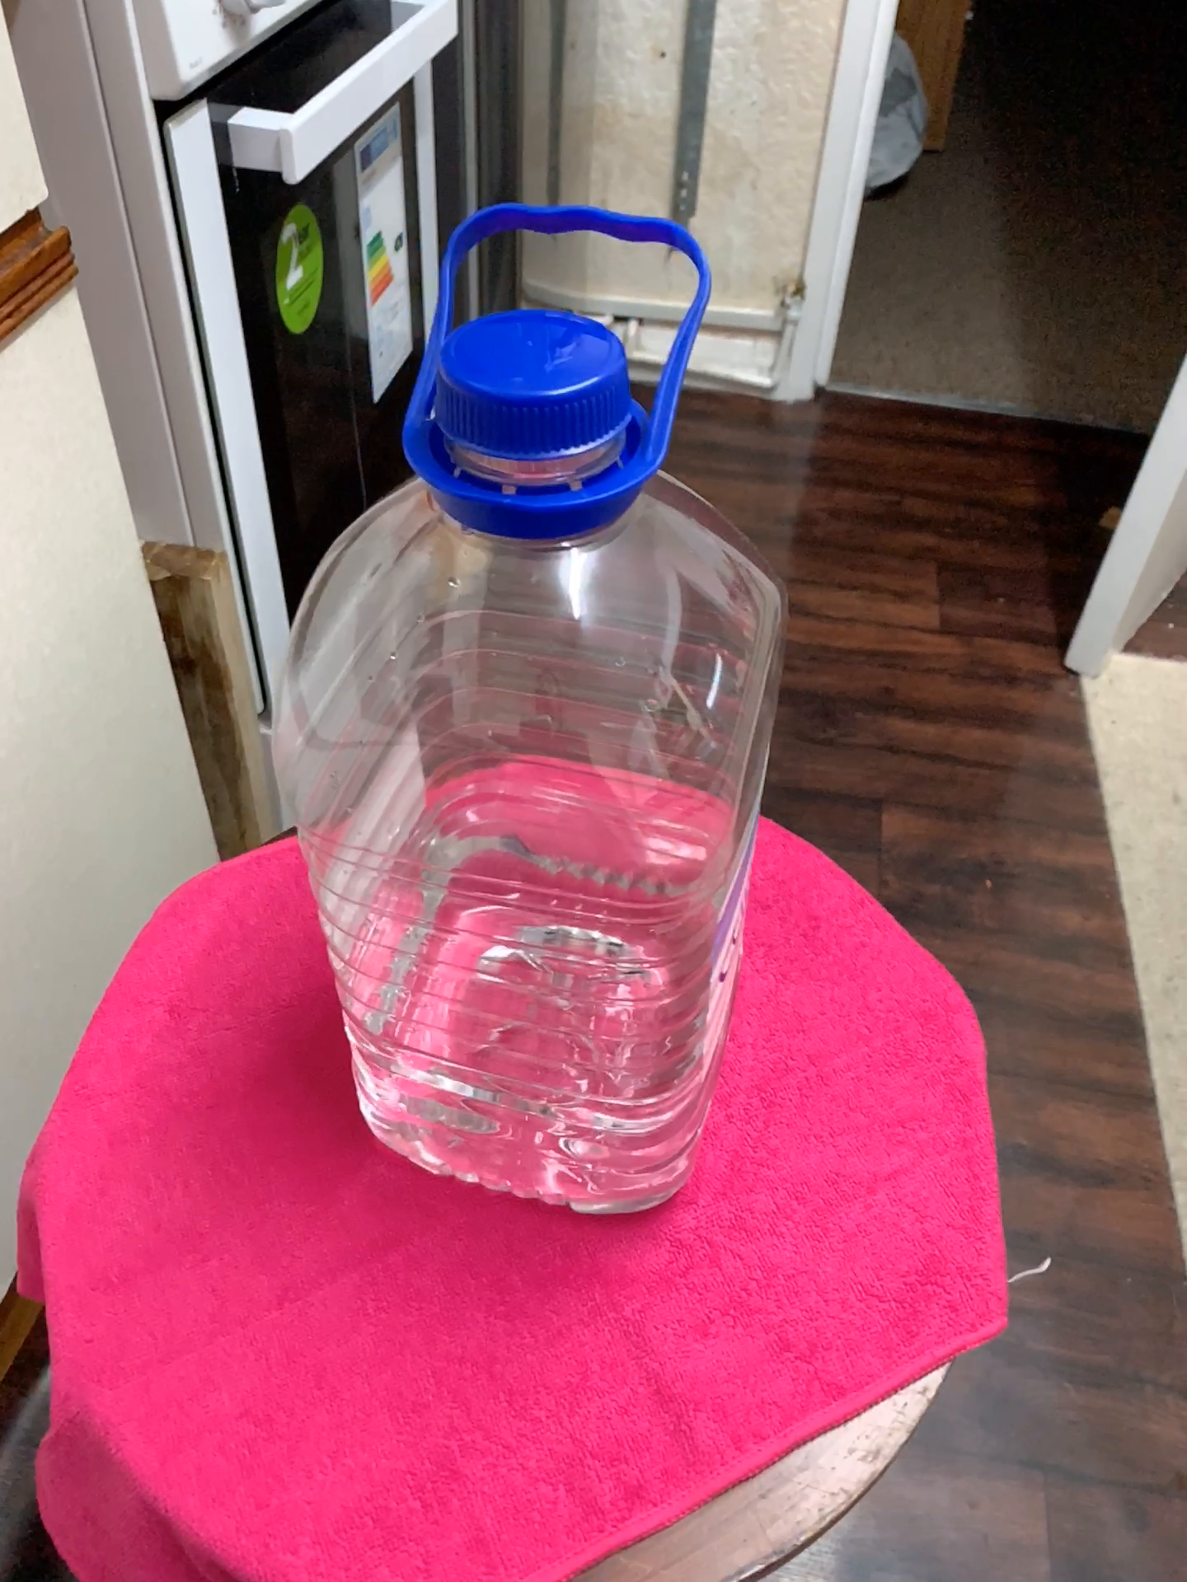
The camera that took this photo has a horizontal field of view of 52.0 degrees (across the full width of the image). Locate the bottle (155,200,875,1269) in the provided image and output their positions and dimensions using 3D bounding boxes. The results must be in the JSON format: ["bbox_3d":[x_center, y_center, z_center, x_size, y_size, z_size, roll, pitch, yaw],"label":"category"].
[{"bbox_3d":[-0.014,0.004,0.419,0.140,0.327,0.151,2,45,-2],"label":"bottle"}]
